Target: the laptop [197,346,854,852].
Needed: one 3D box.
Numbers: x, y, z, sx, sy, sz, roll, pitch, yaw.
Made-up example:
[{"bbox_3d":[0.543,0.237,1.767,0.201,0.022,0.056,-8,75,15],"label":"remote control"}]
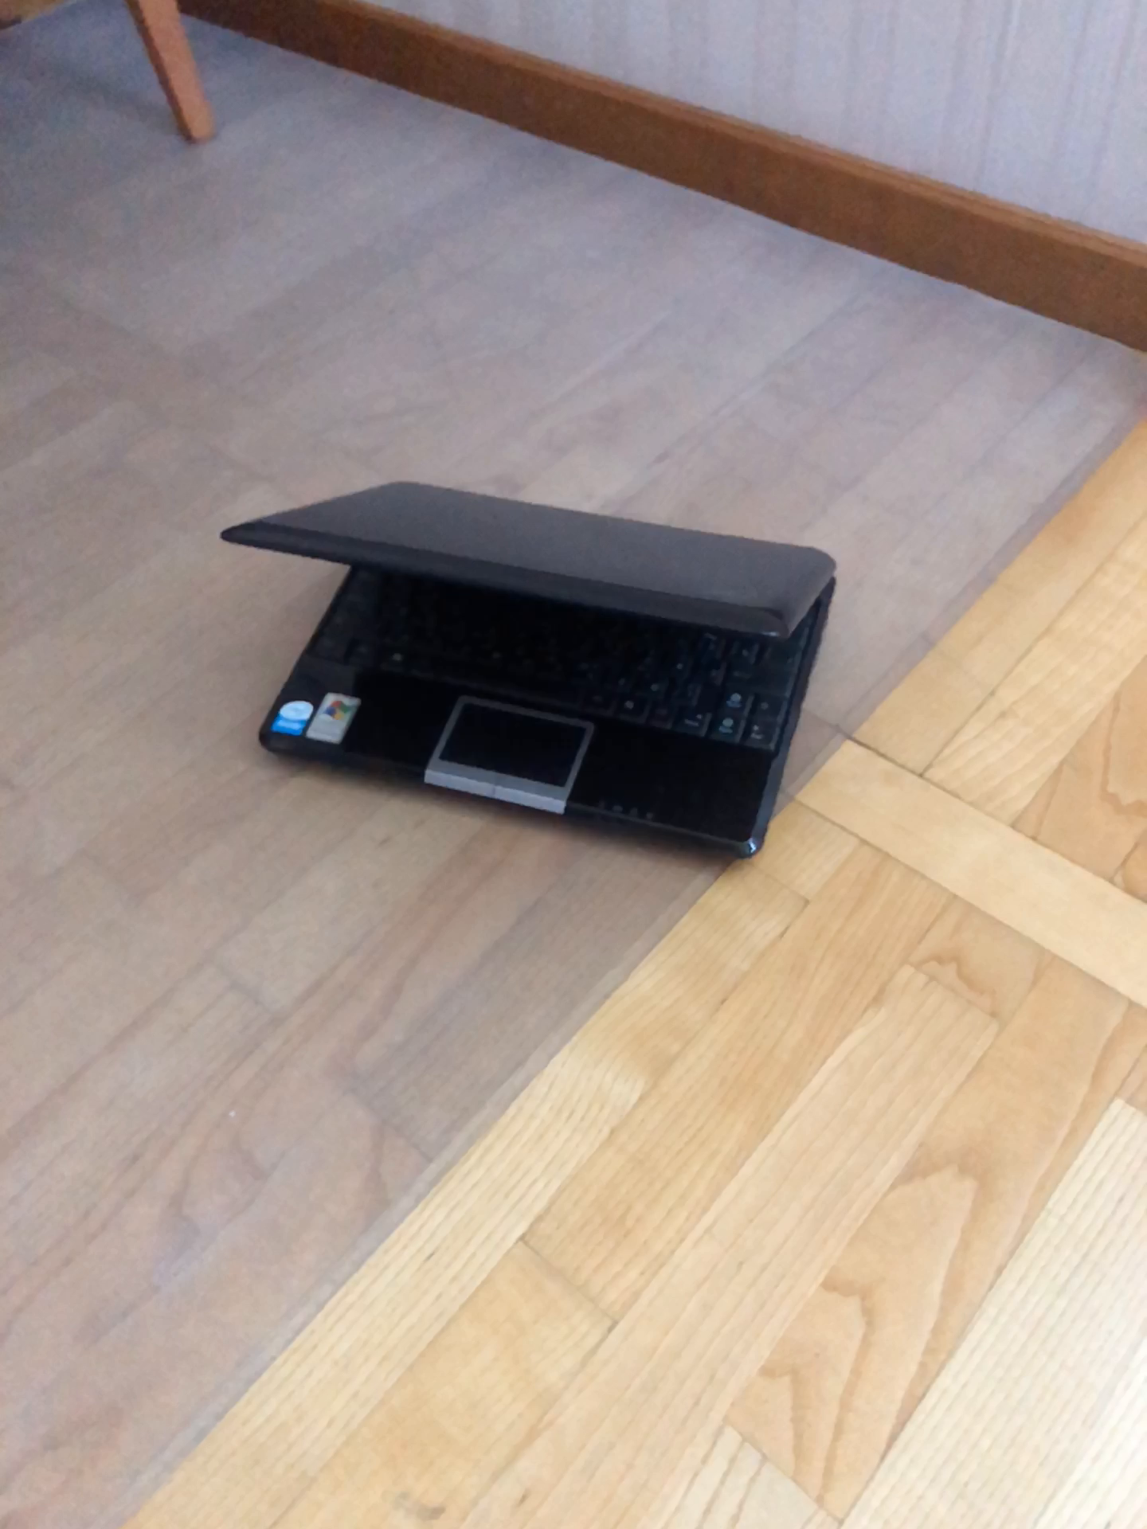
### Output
[{"bbox_3d":[-0.015,-0.090,0.635,0.263,0.102,0.183,12,57,13],"label":"laptop"}]
